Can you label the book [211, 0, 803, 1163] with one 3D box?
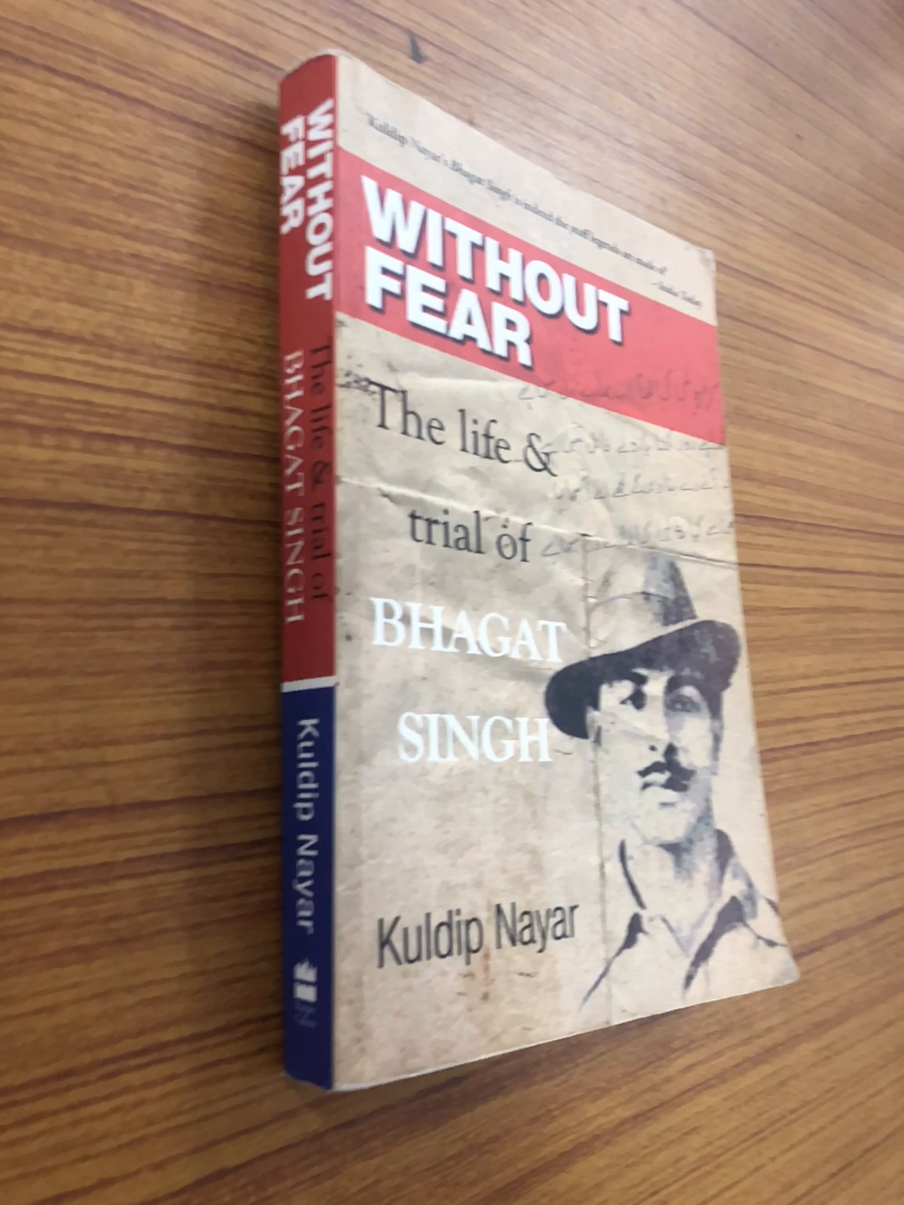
[{"bbox_3d":[0.019,-0.010,0.227,0.141,0.030,0.210,8,76,-41],"label":"book"}]
